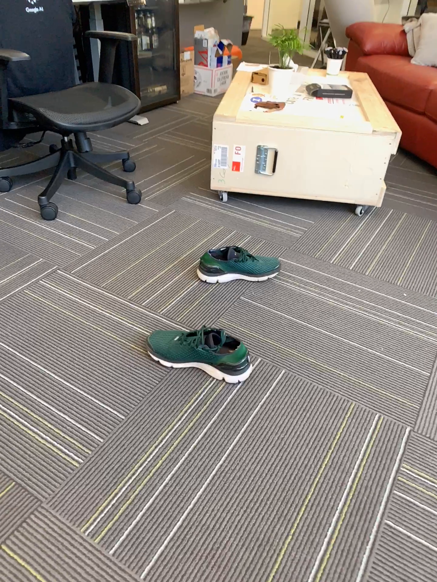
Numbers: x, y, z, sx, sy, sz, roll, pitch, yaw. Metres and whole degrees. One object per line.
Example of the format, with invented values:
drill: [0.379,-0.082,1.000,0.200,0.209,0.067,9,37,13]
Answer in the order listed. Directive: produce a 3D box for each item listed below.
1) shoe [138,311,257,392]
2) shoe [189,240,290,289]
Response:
shoe: [-0.059,0.160,1.211,0.300,0.099,0.100,14,38,14]
shoe: [0.067,-0.095,1.533,0.320,0.099,0.121,-4,38,-10]
